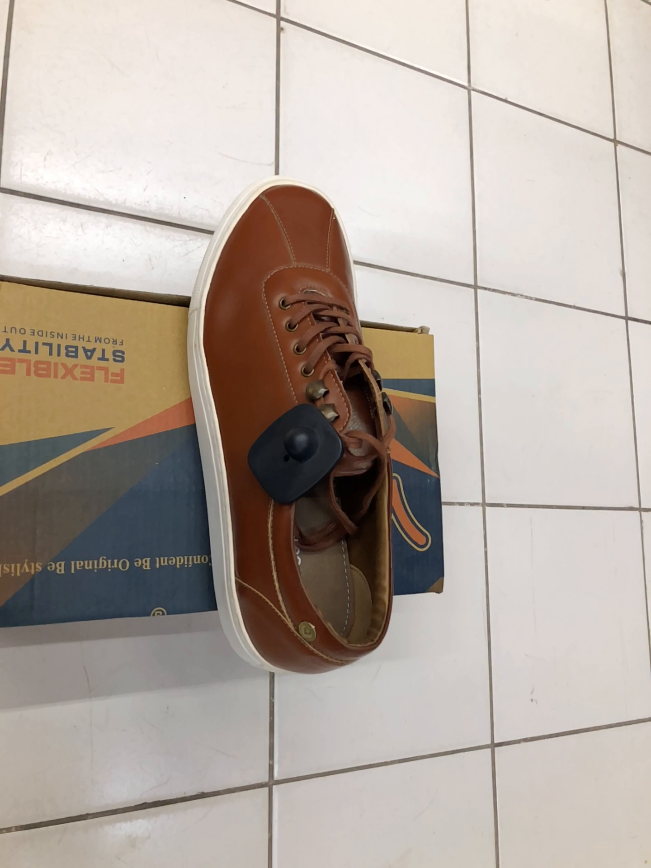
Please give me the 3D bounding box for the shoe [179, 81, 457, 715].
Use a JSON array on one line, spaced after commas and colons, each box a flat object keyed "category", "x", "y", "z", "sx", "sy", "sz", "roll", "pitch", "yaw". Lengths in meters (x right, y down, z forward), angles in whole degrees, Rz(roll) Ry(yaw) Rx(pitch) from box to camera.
[{"category": "shoe", "x": -0.013, "y": -0.015, "z": 0.383, "sx": 0.100, "sy": 0.109, "sz": 0.280, "roll": 2, "pitch": 81, "yaw": -28}]
